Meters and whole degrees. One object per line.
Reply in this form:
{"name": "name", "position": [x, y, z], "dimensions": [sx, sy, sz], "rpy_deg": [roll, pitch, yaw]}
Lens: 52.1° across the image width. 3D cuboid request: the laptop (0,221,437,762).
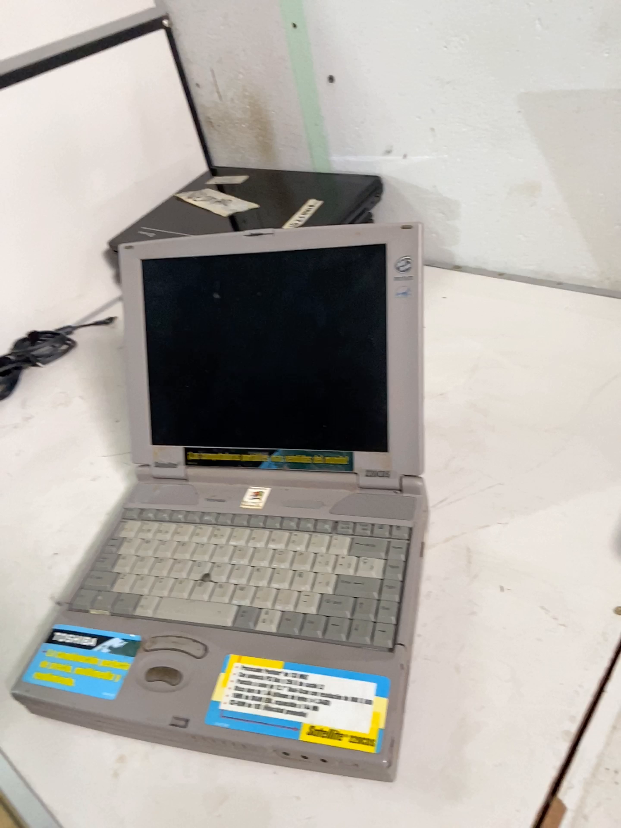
{"name": "laptop", "position": [-0.074, 0.028, 0.525], "dimensions": [0.301, 0.195, 0.359], "rpy_deg": [0, 42, 19]}
